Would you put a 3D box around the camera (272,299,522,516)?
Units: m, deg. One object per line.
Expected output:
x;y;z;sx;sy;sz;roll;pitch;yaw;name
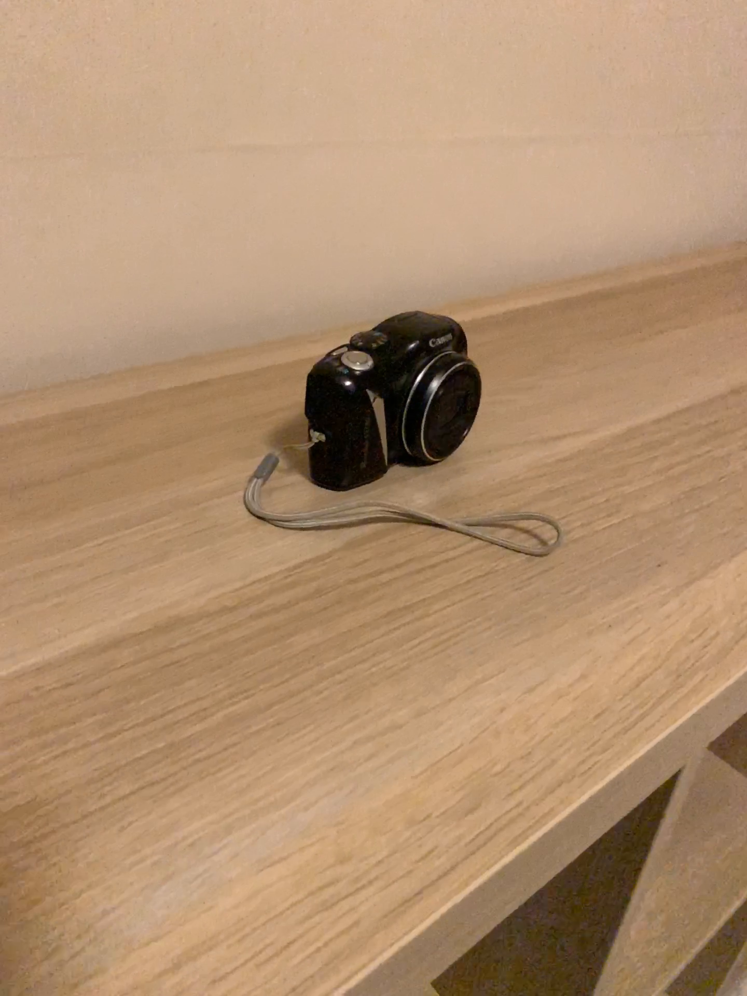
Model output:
0.015;-0.053;0.394;0.068;0.059;0.121;22;35;28;camera
